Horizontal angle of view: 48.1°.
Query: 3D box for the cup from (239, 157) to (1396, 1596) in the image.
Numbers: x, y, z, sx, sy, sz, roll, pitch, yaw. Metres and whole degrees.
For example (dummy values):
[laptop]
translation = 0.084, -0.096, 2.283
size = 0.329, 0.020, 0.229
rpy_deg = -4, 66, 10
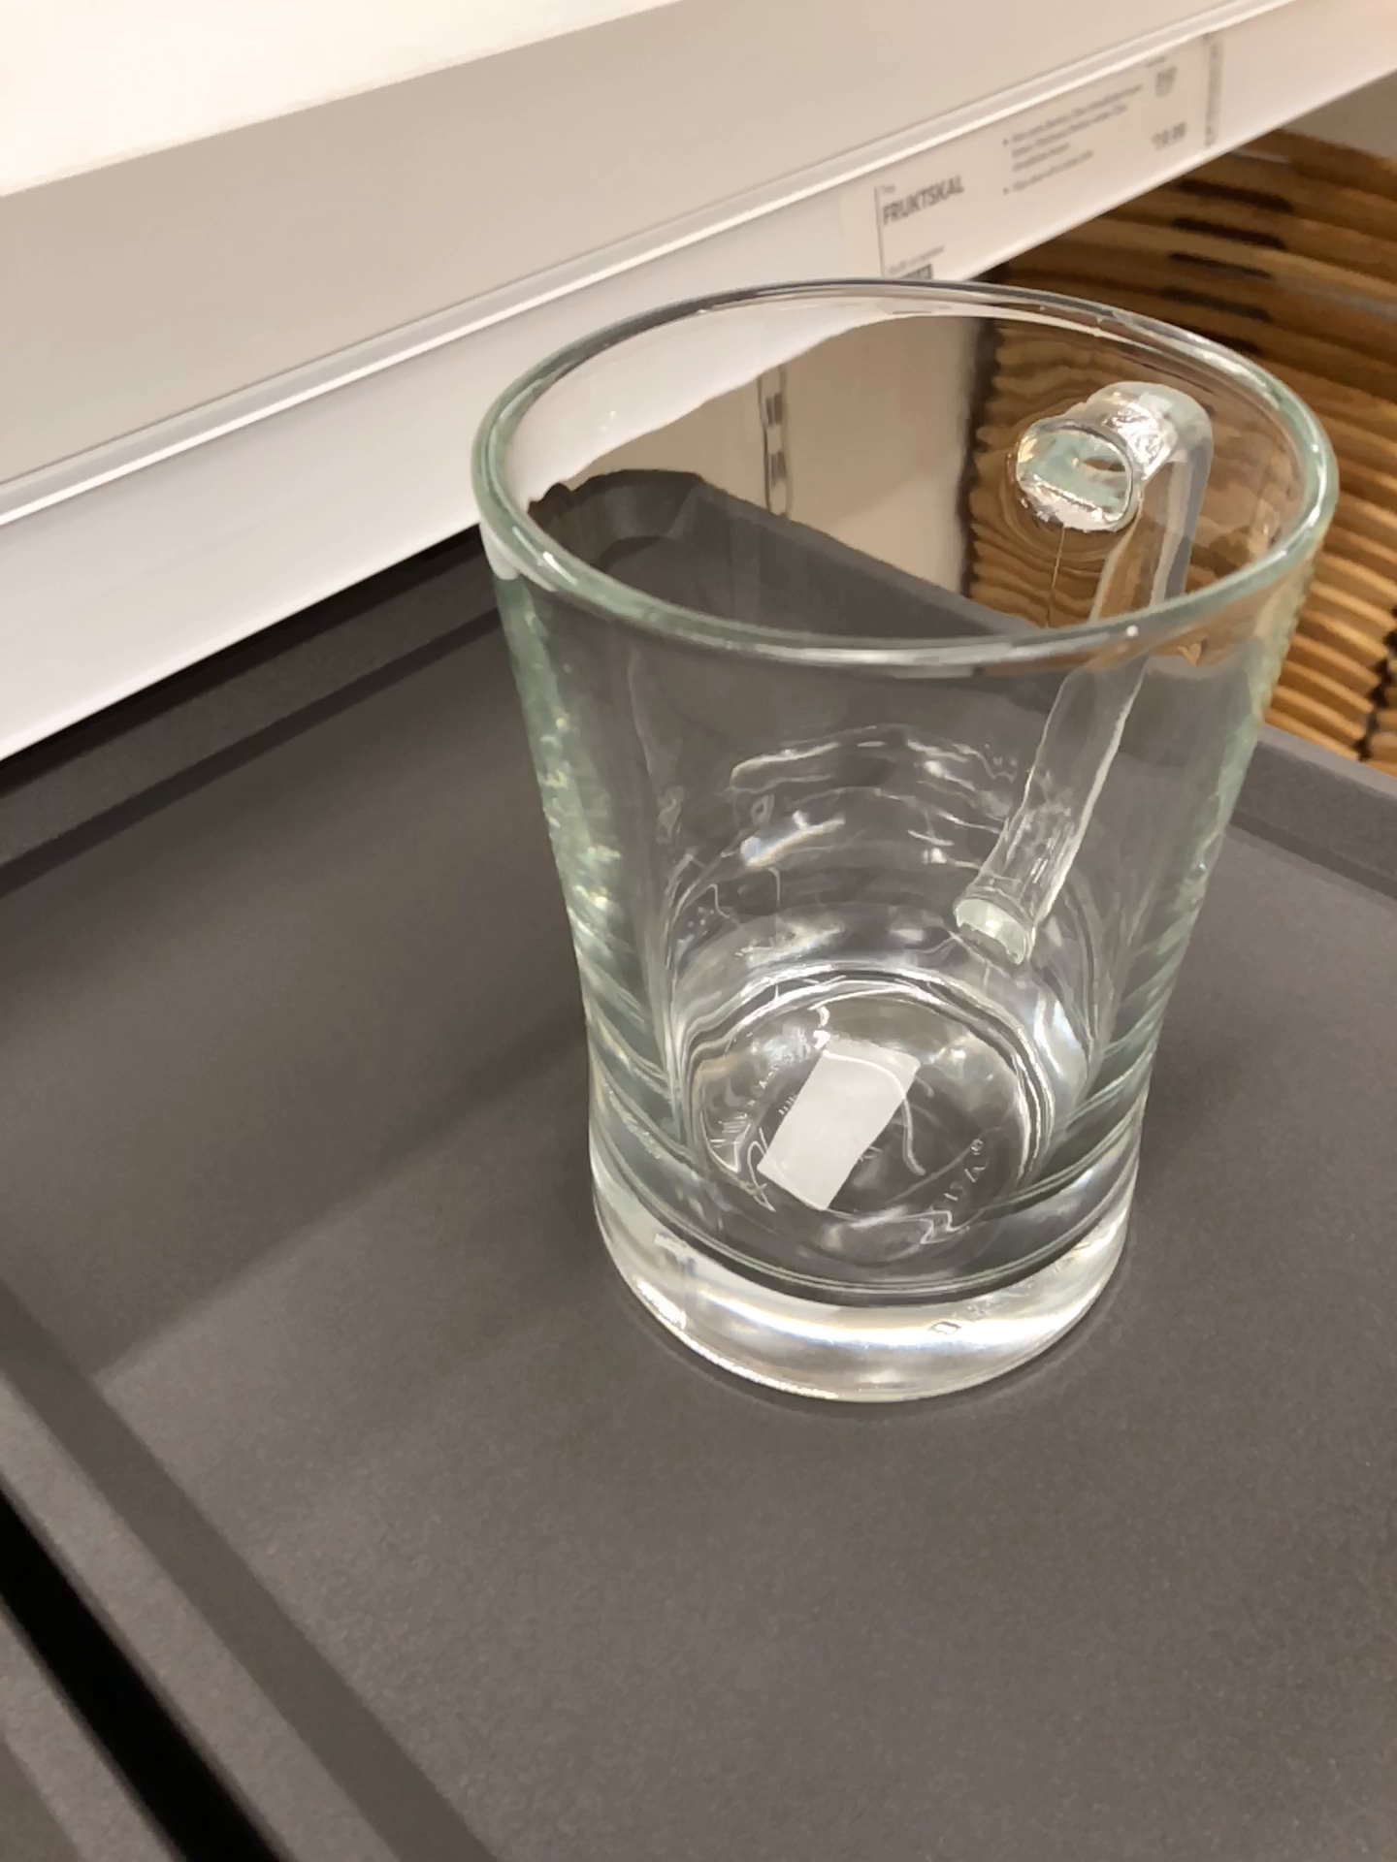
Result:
[cup]
translation = 0.042, -0.023, 0.243
size = 0.110, 0.130, 0.160
rpy_deg = 25, 48, 29
